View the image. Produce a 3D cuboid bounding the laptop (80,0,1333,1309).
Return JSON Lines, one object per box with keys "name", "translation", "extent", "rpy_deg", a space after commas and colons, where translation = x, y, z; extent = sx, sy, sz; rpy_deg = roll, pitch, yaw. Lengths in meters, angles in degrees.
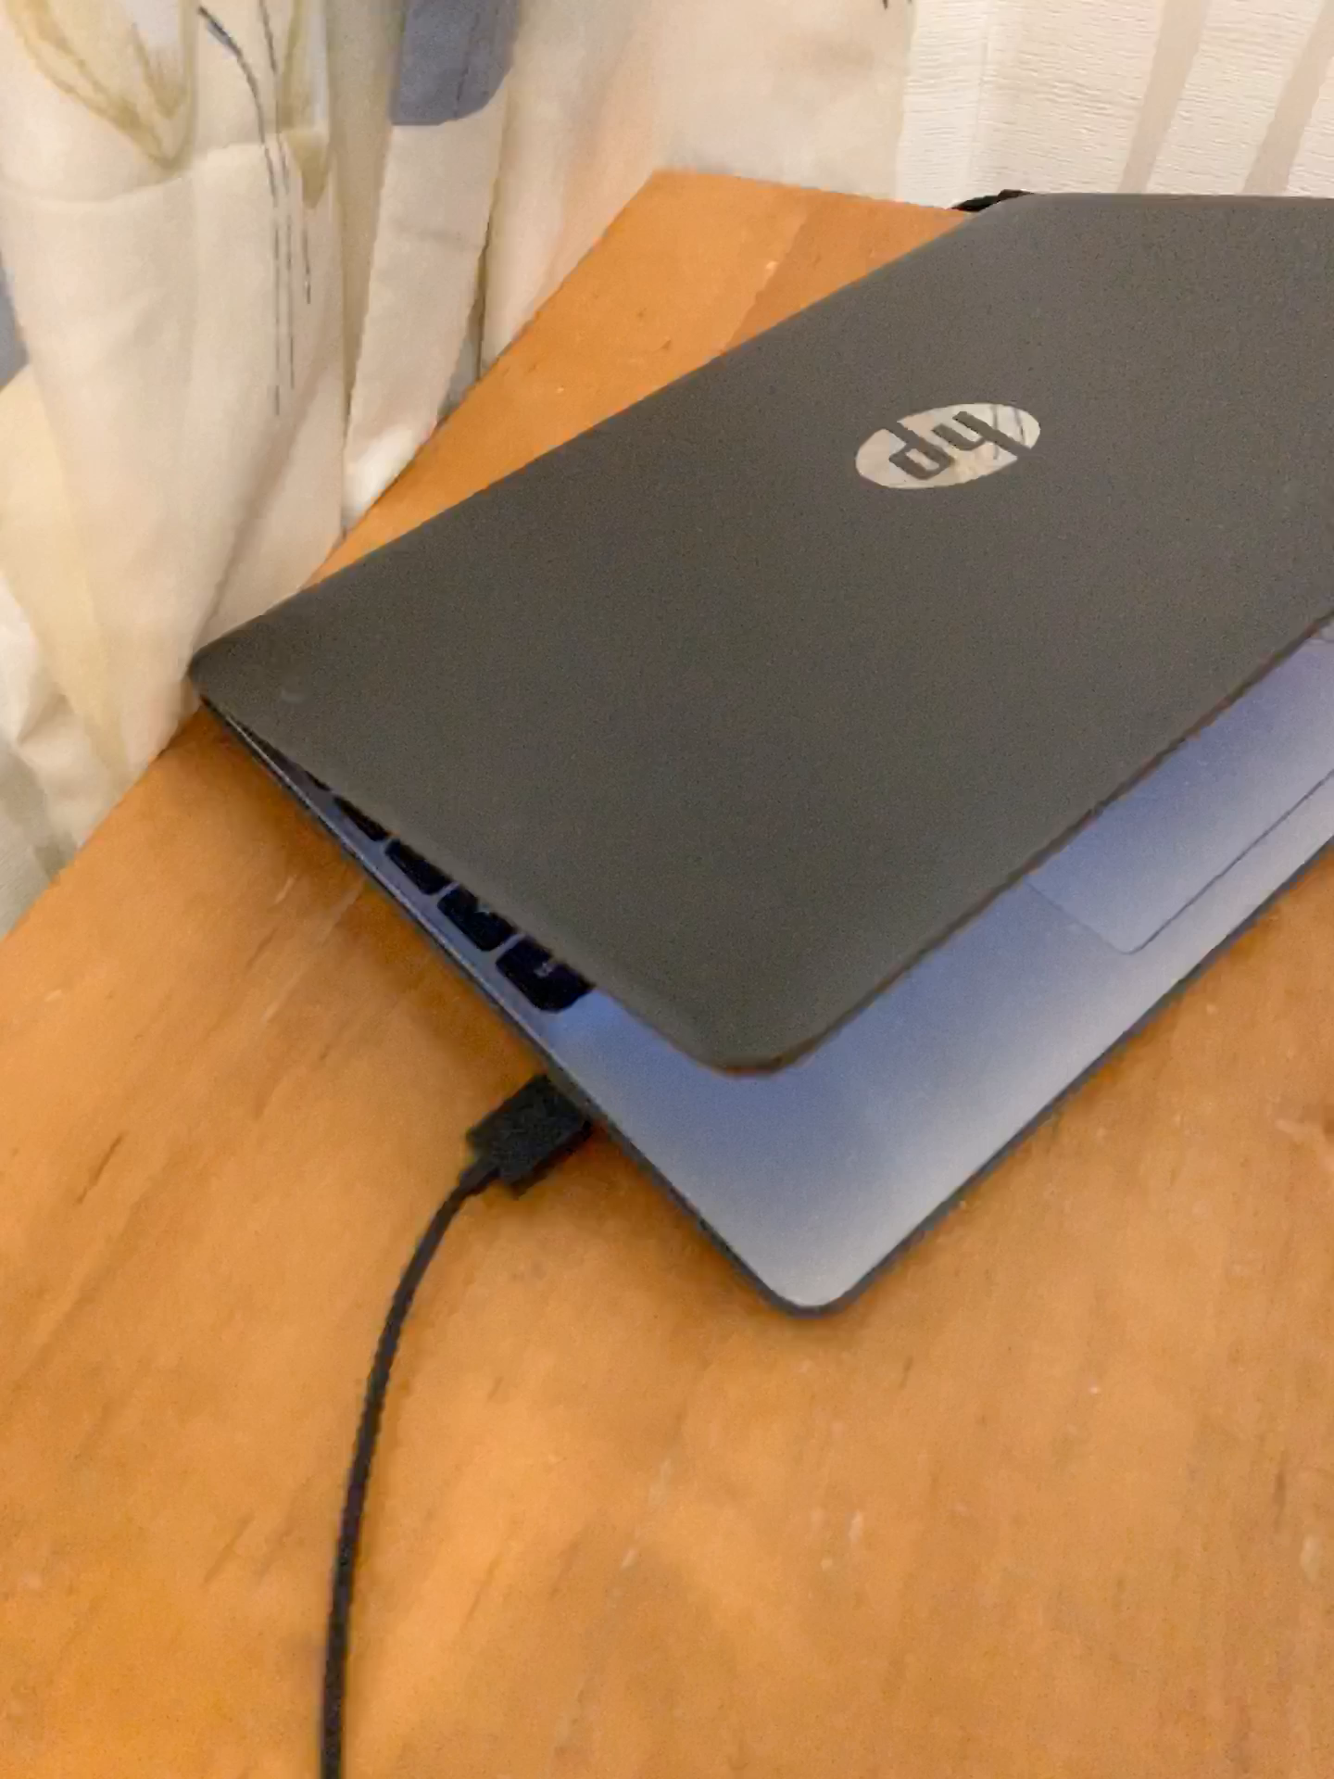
{"name": "laptop", "translation": [0.057, -0.084, 0.282], "extent": [0.268, 0.066, 0.191], "rpy_deg": [-36, 59, -22]}
